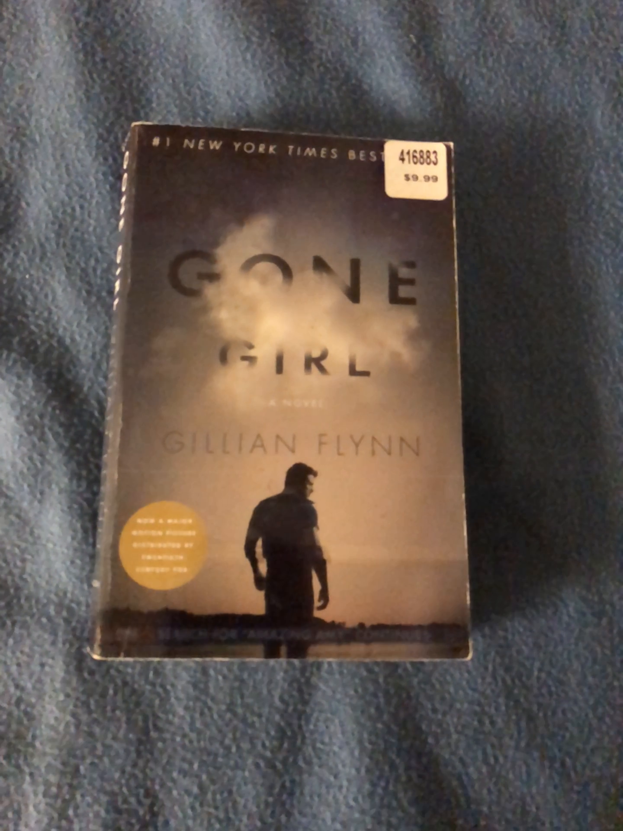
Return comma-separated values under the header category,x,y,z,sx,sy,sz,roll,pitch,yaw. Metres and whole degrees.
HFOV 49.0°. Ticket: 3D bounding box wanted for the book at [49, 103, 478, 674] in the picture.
category,x,y,z,sx,sy,sz,roll,pitch,yaw
book,-0.015,-0.012,0.261,0.140,0.040,0.200,1,80,-6
